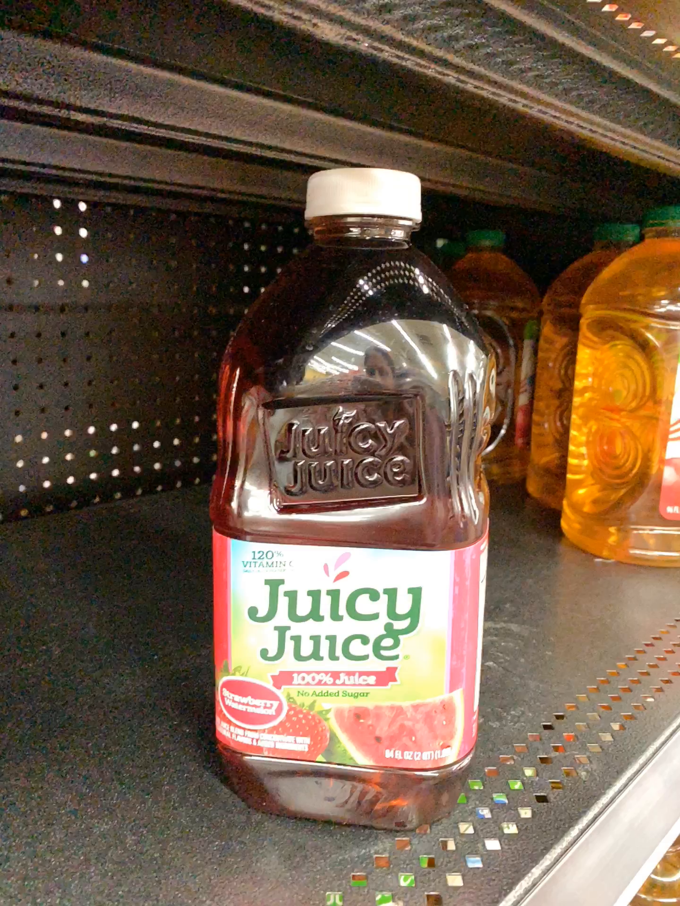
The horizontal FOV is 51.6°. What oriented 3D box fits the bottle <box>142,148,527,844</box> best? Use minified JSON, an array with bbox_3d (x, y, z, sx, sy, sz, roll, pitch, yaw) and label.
[{"bbox_3d":[-0.003,0.016,0.299,0.125,0.255,0.090,3,13,5],"label":"bottle"}]
